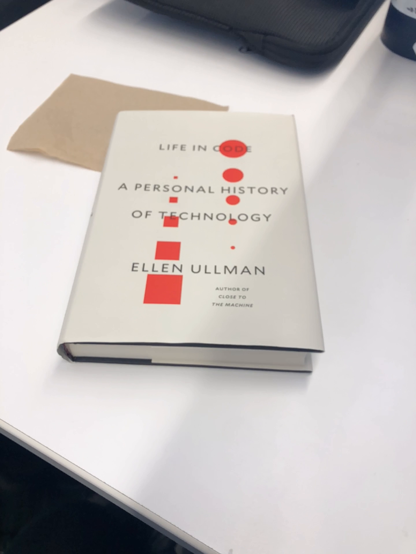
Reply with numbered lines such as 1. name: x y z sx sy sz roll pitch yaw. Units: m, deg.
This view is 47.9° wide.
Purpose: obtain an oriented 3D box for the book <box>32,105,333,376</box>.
1. book: -0.009 -0.042 0.327 0.160 0.030 0.221 2 52 2
